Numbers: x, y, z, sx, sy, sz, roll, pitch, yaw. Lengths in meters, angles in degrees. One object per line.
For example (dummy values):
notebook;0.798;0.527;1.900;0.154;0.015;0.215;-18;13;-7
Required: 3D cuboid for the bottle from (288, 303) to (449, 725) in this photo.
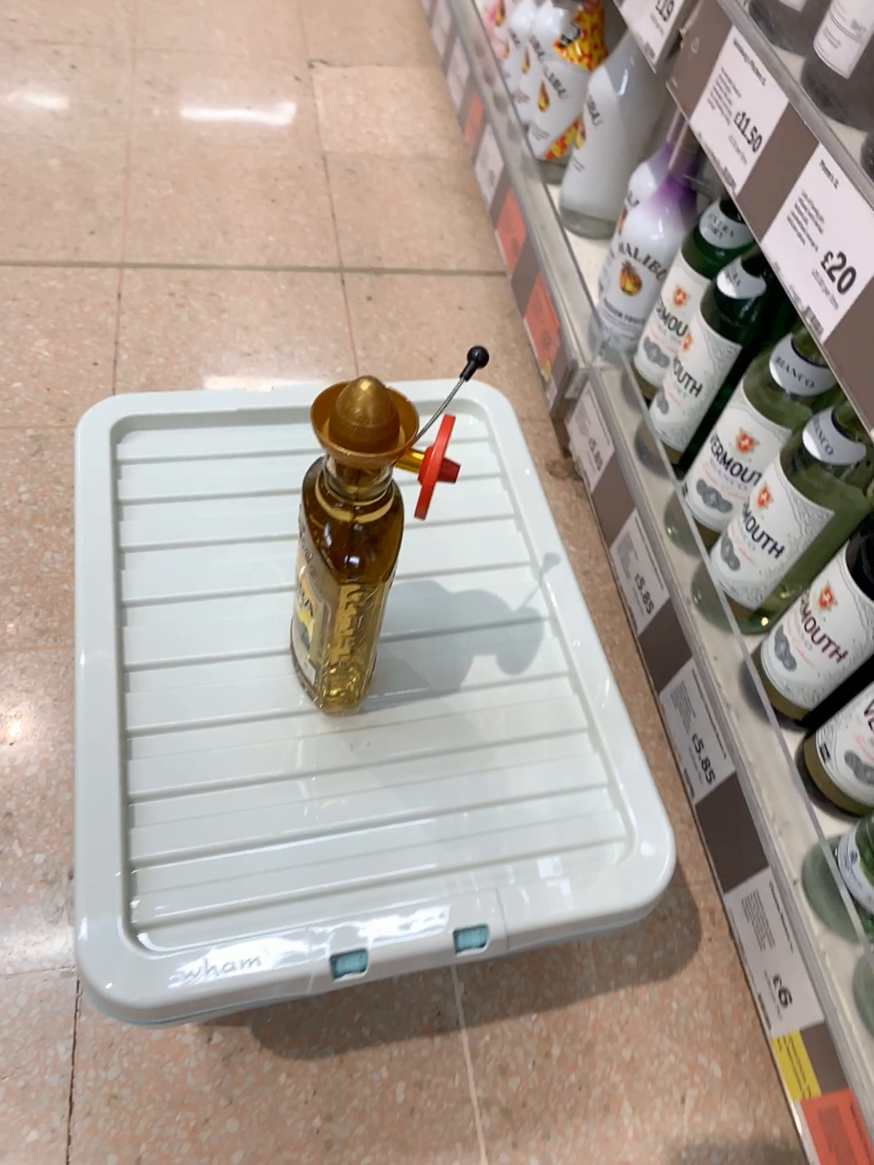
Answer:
bottle;-0.051;-0.023;0.522;0.058;0.258;0.101;-5;56;-13
